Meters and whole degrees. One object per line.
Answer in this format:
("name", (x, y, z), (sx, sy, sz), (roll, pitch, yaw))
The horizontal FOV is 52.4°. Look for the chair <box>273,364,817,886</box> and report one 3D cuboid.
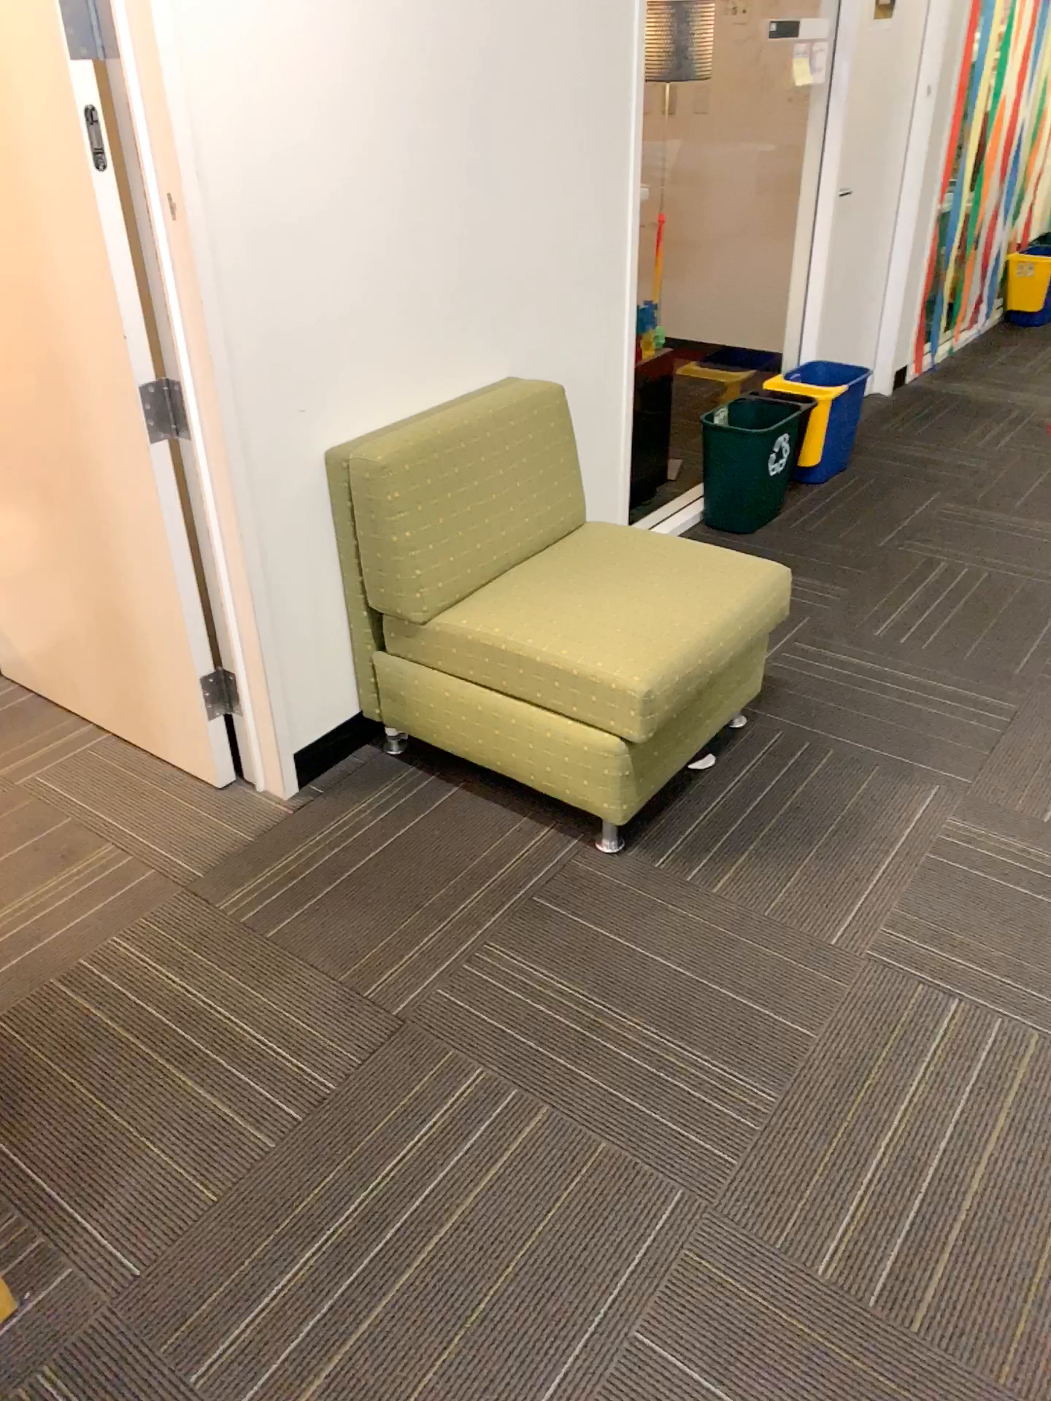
("chair", (0.056, -0.225, 2.263), (0.782, 0.686, 0.732), (21, 38, 31))
